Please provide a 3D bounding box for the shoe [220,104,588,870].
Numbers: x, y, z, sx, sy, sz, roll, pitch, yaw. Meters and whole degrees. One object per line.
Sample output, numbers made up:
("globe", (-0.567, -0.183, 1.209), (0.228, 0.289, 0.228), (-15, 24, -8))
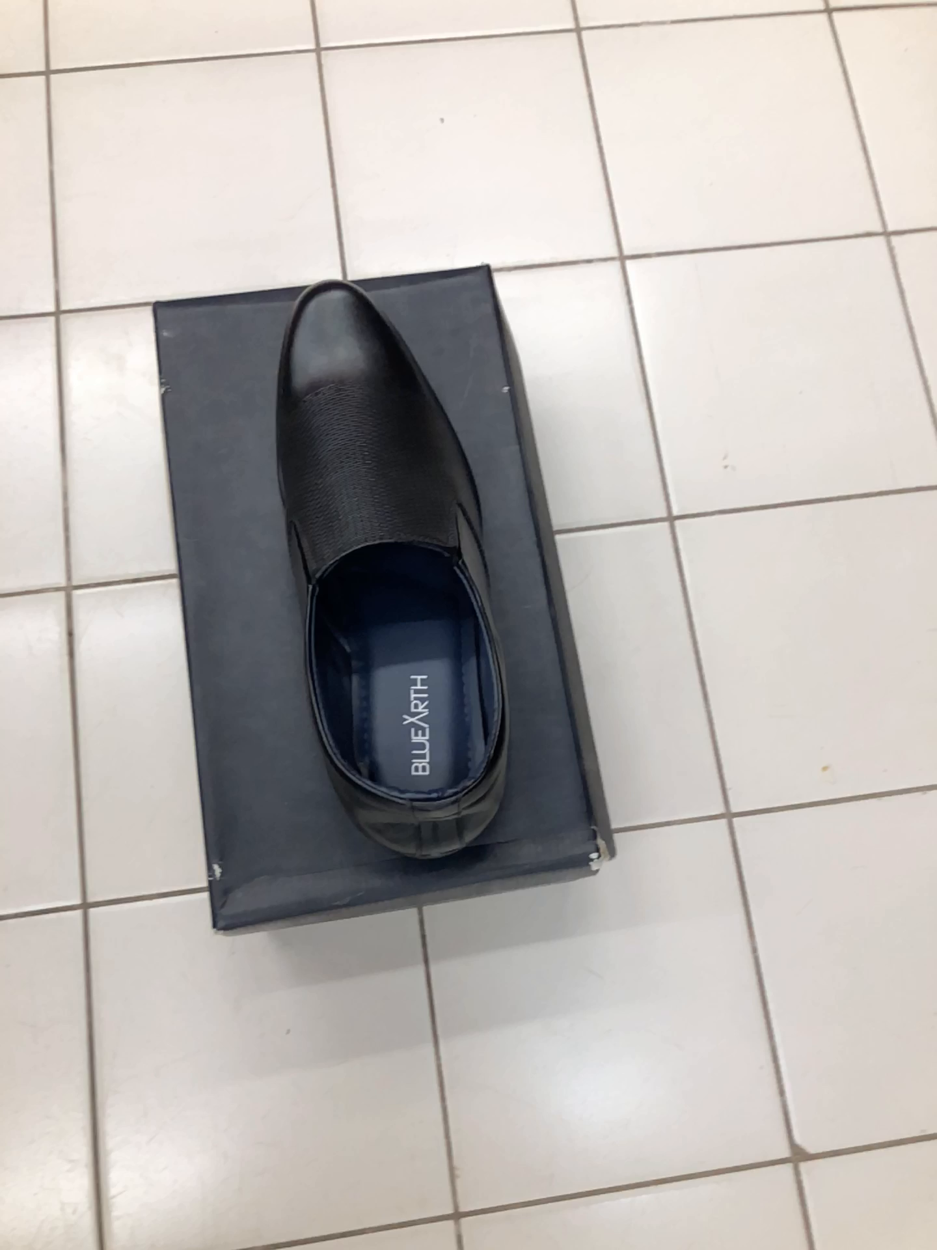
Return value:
("shoe", (-0.036, -0.061, 0.511), (0.100, 0.130, 0.340), (-10, 77, -5))
